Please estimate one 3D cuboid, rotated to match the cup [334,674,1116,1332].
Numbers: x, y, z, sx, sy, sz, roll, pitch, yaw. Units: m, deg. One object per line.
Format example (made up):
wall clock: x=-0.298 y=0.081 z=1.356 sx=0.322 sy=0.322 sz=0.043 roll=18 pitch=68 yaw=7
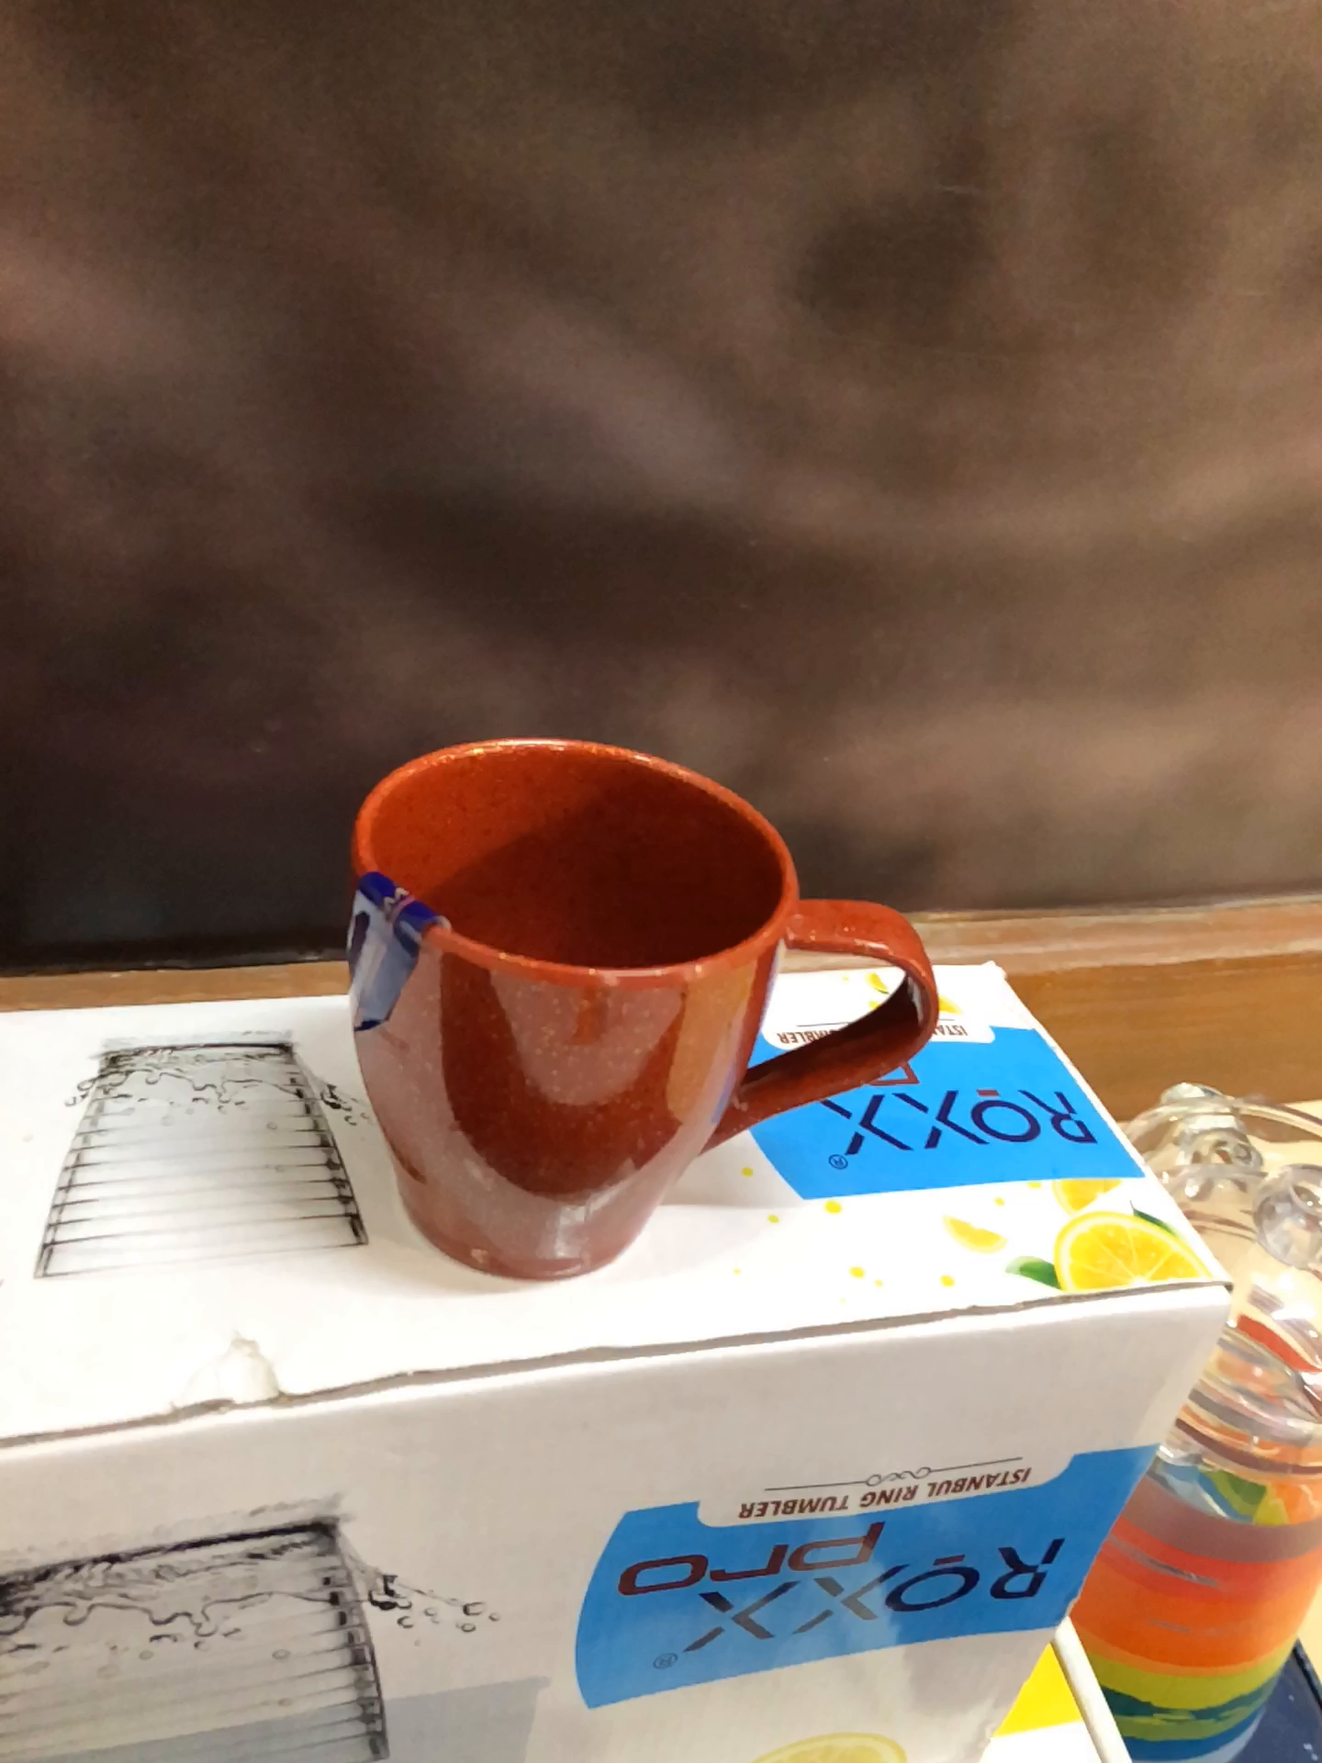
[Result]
cup: x=0.004 y=0.018 z=0.234 sx=0.100 sy=0.070 sz=0.070 roll=4 pitch=31 yaw=-5
